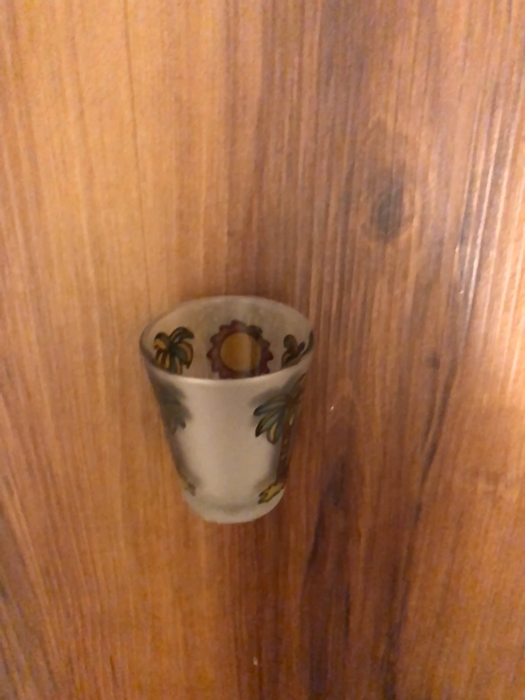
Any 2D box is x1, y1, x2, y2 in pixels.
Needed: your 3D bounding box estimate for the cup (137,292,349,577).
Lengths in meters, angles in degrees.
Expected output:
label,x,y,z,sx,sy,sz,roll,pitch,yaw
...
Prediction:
label,x,y,z,sx,sy,sz,roll,pitch,yaw
cup,-0.005,0.024,0.177,0.050,0.045,0.070,-1,116,-2
